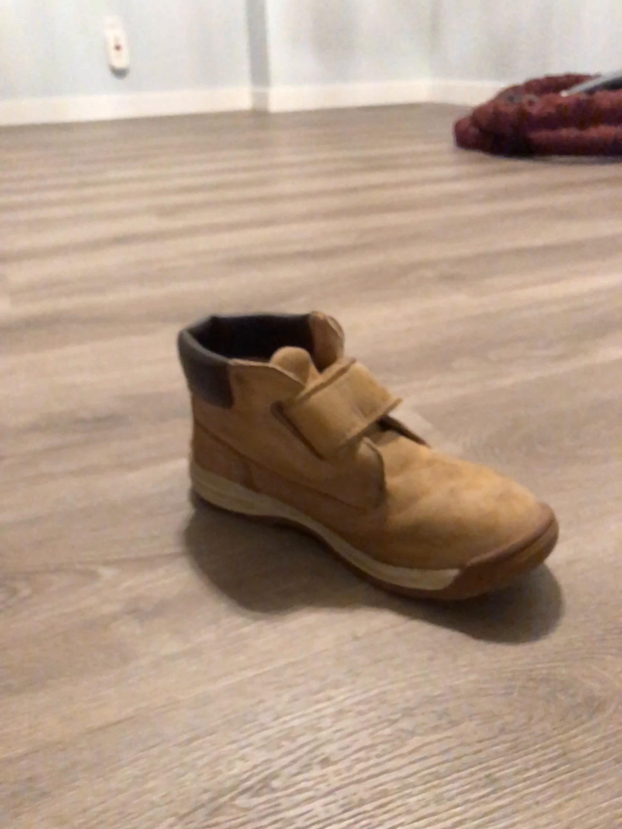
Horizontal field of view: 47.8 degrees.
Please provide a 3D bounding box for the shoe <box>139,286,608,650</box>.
[{"bbox_3d":[0.024,0.010,0.350,0.200,0.100,0.090,16,32,33],"label":"shoe"}]
